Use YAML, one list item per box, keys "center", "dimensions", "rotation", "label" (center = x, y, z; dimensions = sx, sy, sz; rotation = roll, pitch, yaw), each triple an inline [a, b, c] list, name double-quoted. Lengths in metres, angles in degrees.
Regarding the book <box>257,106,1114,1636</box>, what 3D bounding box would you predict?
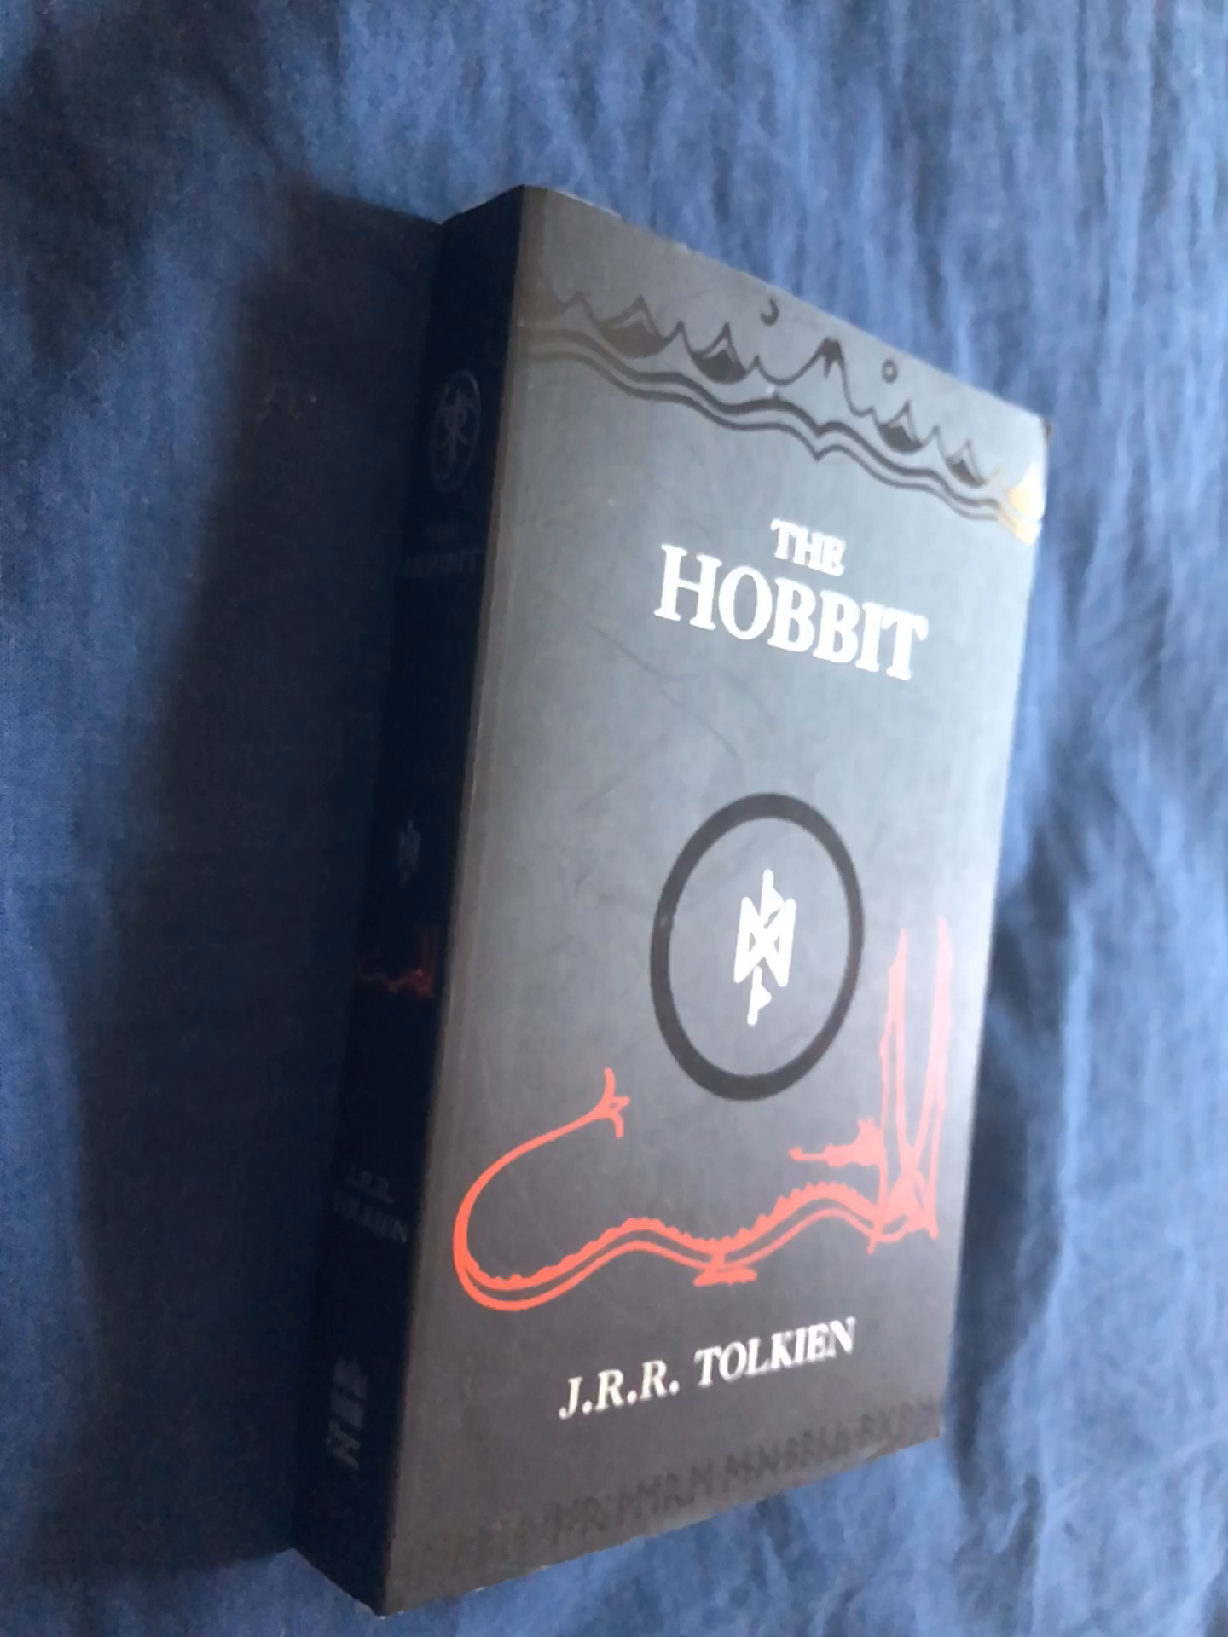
- center: [0.019, 0.013, 0.210]
  dimensions: [0.120, 0.040, 0.180]
  rotation: [7, 88, -41]
  label: "book"
